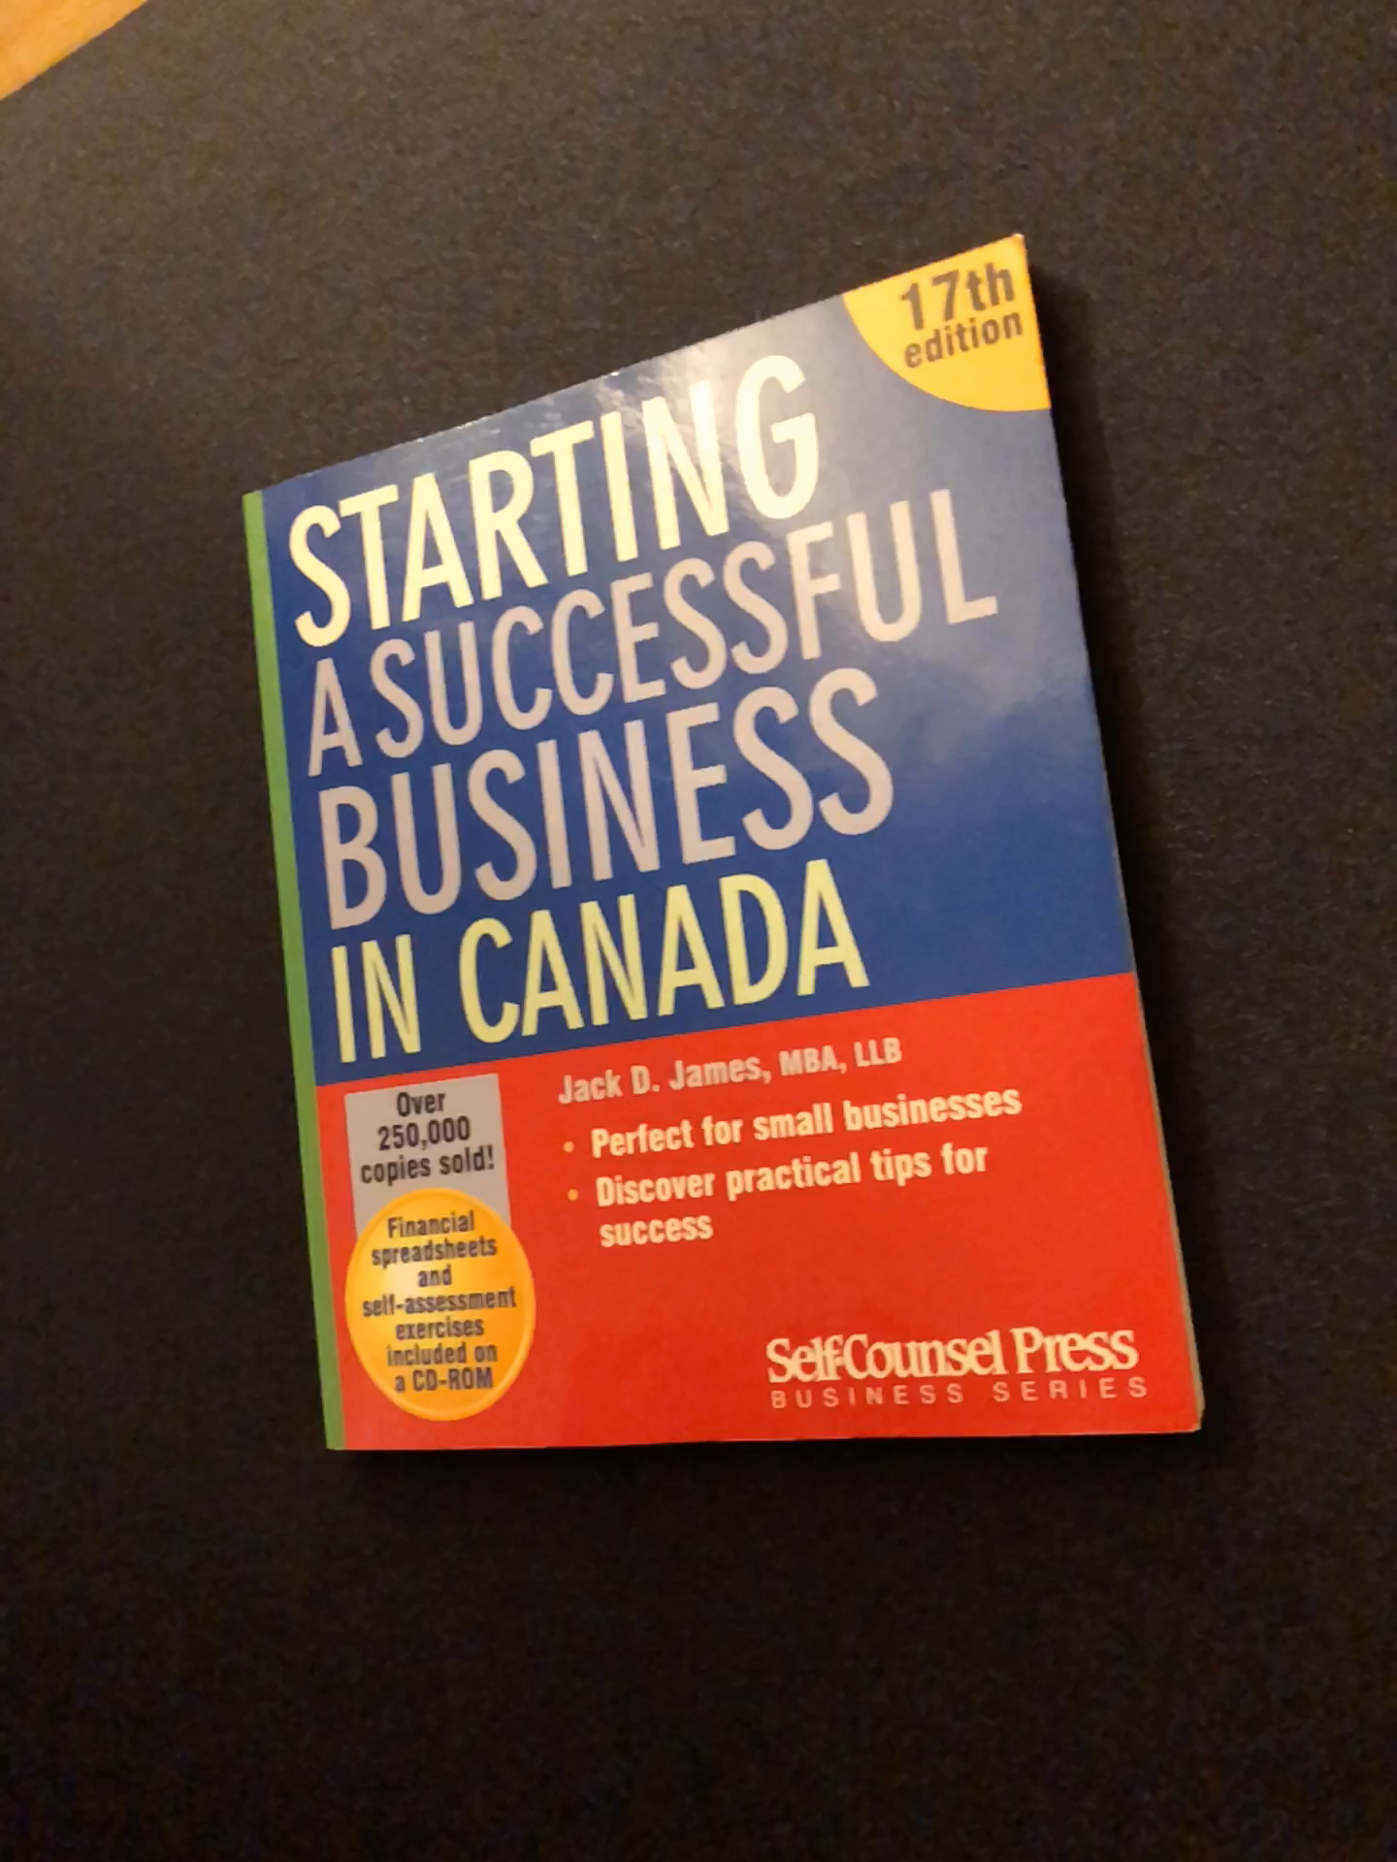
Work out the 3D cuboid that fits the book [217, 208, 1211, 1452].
[{"bbox_3d":[-0.009,-0.010,0.360,0.211,0.040,0.247,-9,83,24],"label":"book"}]
